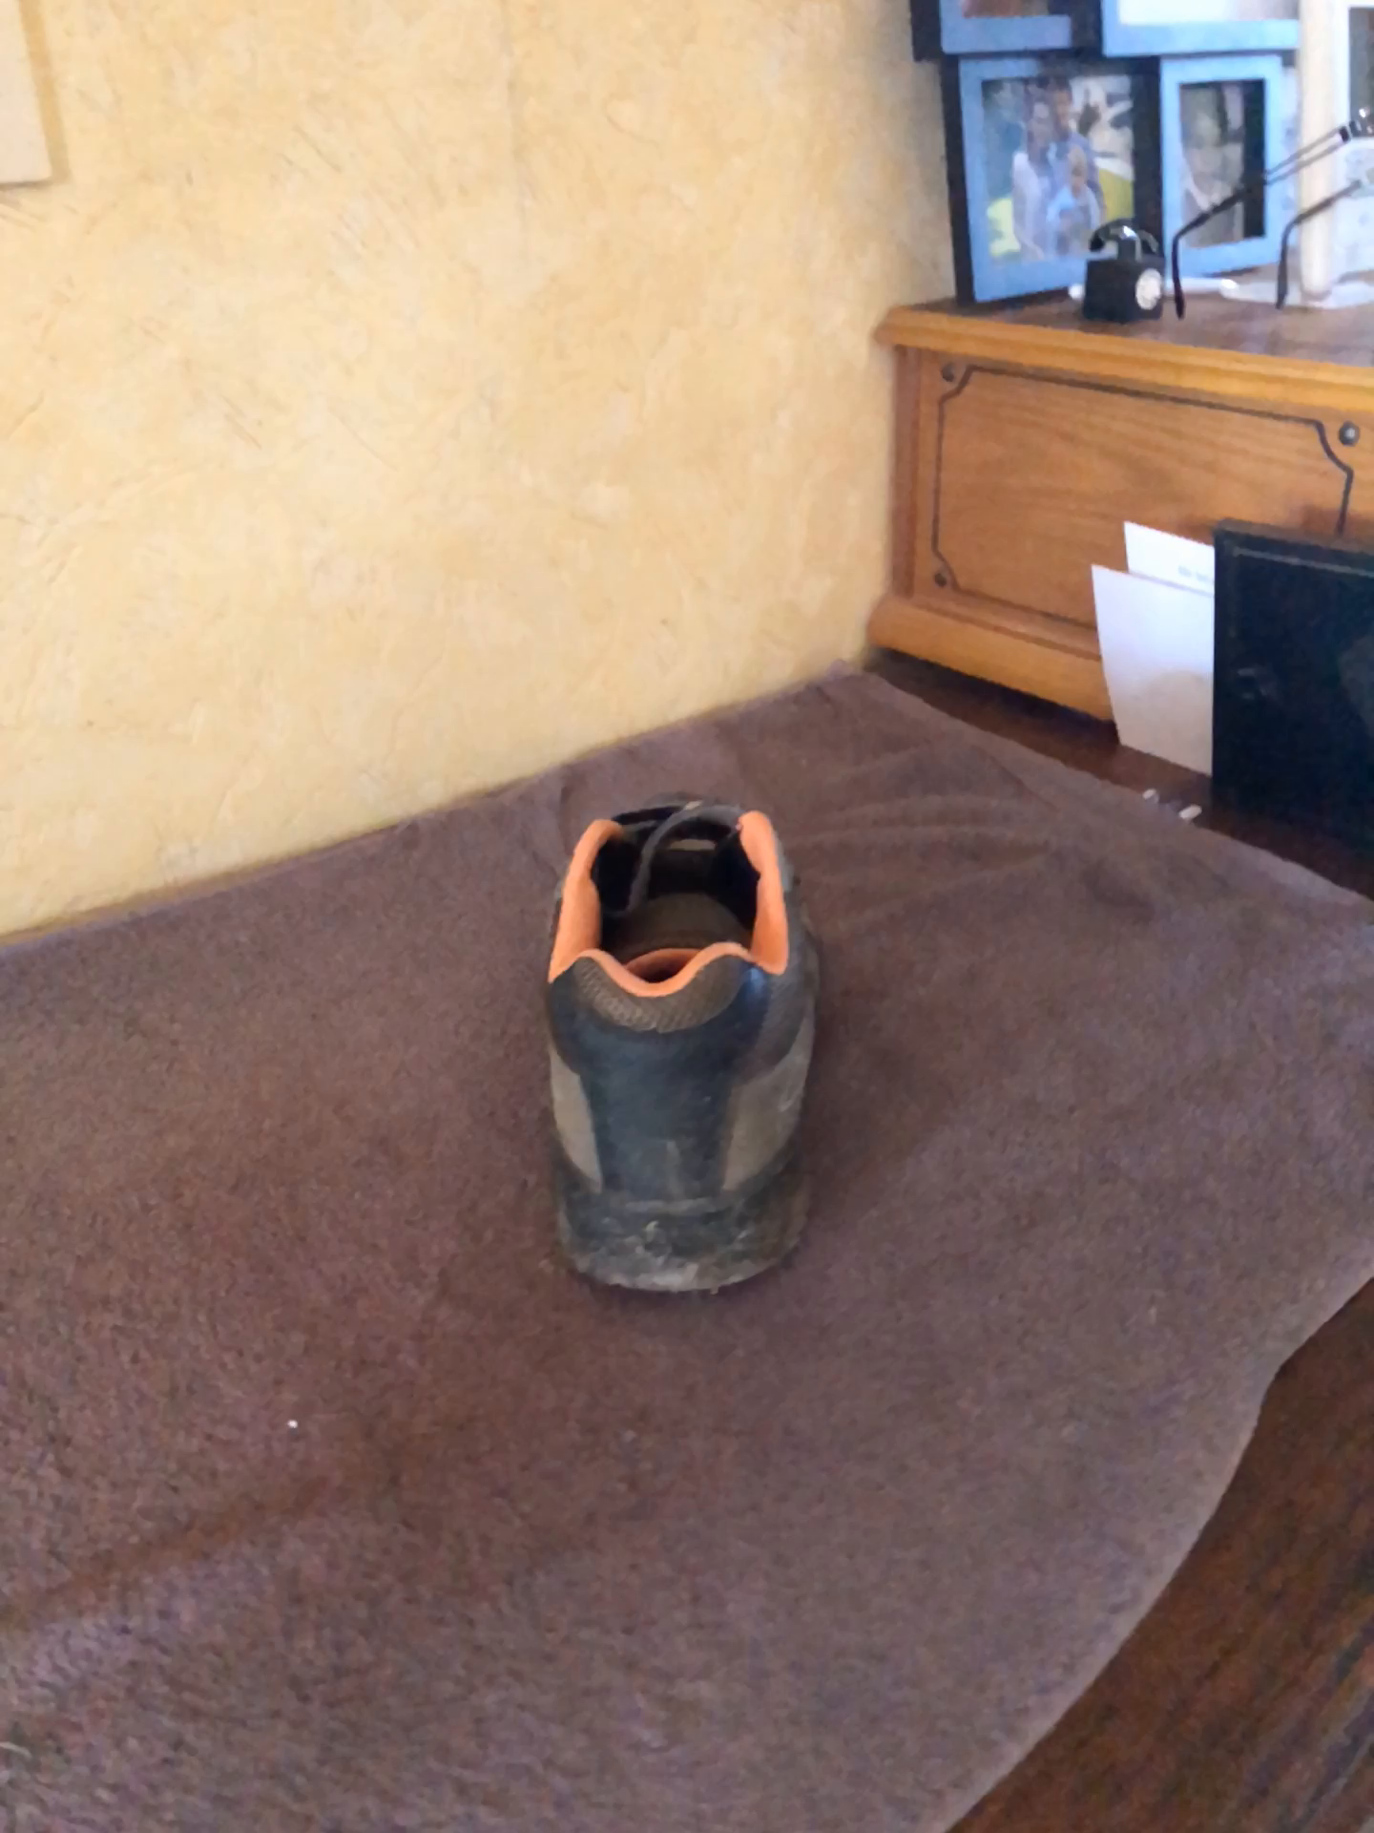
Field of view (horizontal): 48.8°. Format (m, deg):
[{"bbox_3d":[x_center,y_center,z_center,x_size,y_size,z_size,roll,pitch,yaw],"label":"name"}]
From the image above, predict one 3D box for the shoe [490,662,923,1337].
[{"bbox_3d":[0.005,0.008,0.527,0.110,0.099,0.272,-2,30,0],"label":"shoe"}]
